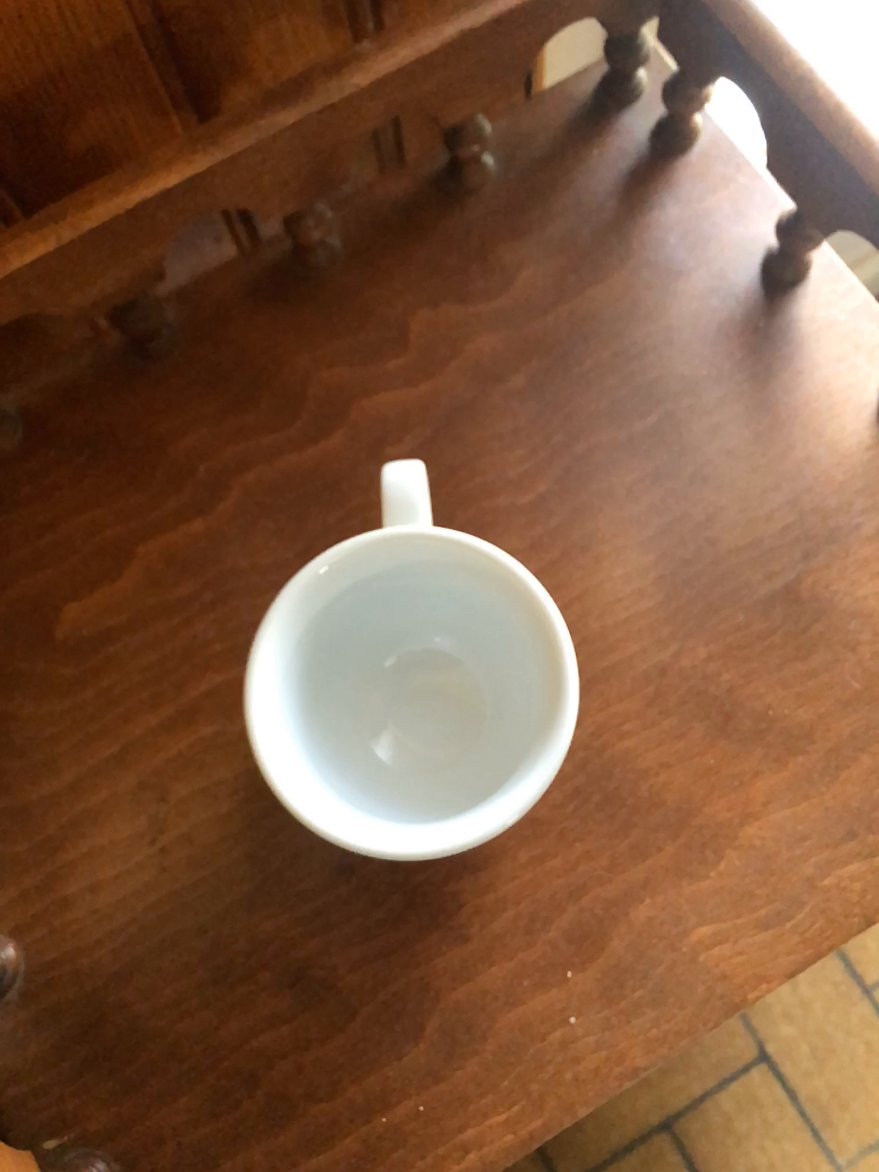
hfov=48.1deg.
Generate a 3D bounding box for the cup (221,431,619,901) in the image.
[{"bbox_3d":[-0.007,0.024,0.272,0.090,0.050,0.110,-7,74,2],"label":"cup"}]
